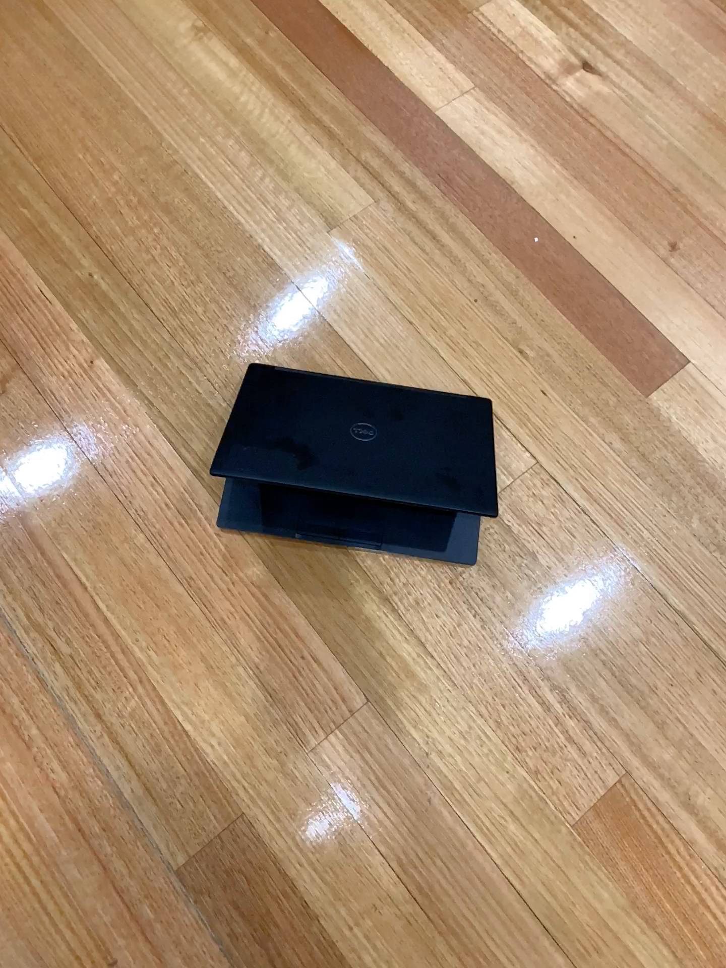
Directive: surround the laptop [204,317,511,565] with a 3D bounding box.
[{"bbox_3d":[0.000,-0.045,0.822,0.296,0.110,0.207,9,68,-1],"label":"laptop"}]
